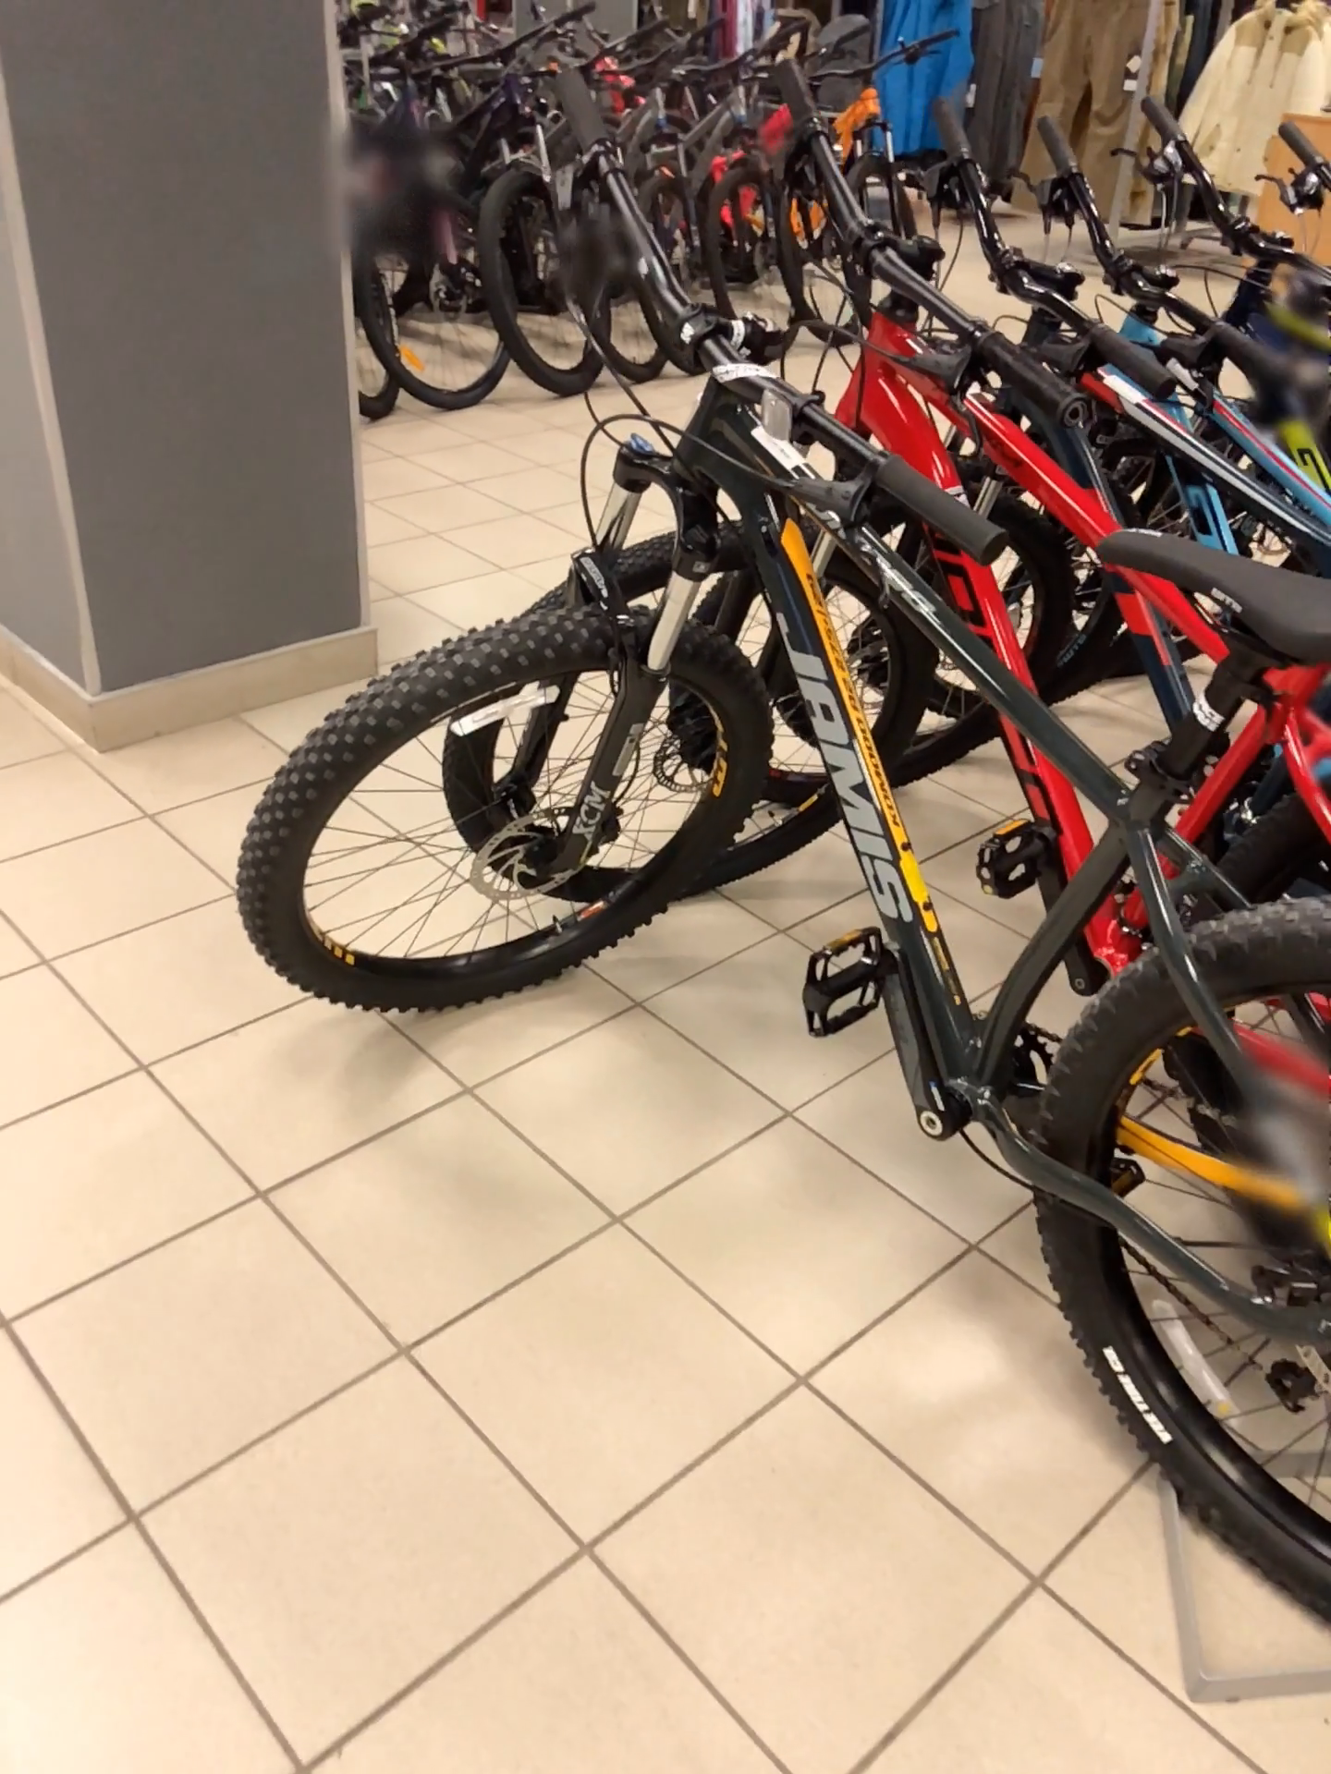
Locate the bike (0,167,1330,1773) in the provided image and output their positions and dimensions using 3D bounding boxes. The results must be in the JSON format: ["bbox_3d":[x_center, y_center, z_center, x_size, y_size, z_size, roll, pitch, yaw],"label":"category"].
[{"bbox_3d":[0.229,0.080,1.275,1.543,1.166,0.810,22,36,30],"label":"bike"}]
